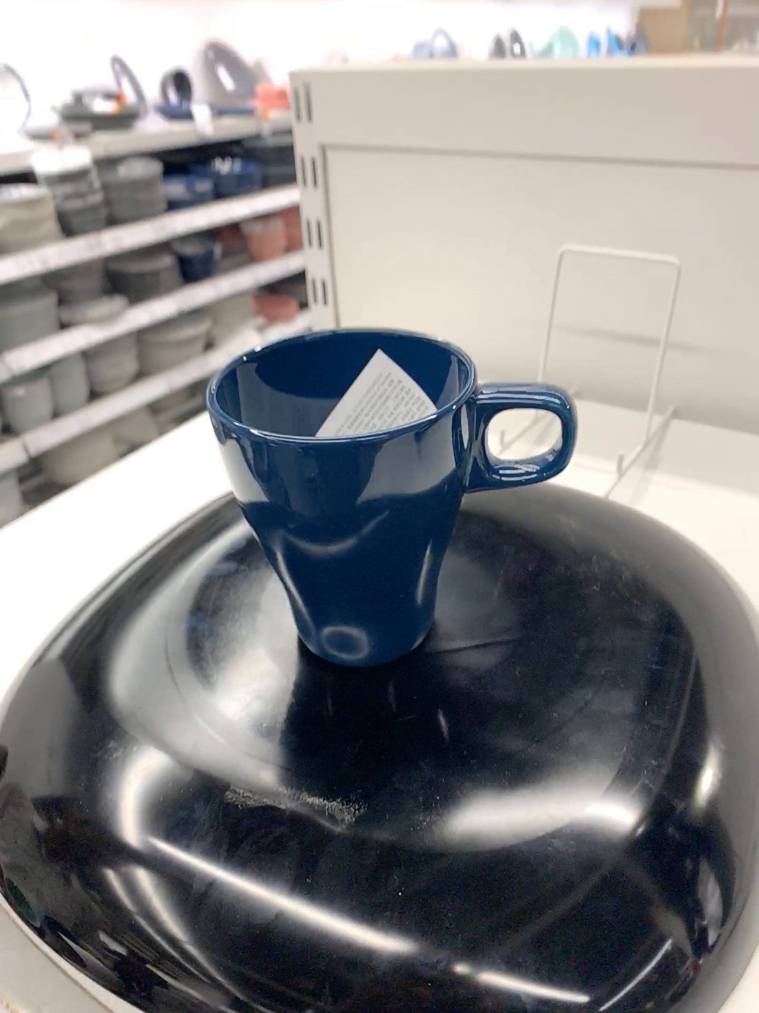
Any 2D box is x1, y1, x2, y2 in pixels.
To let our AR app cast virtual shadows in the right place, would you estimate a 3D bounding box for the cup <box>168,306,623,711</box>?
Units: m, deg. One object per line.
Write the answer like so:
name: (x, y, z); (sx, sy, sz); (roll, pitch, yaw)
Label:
cup: (0.003, -0.003, 0.272); (0.120, 0.100, 0.090); (-3, 31, -2)
